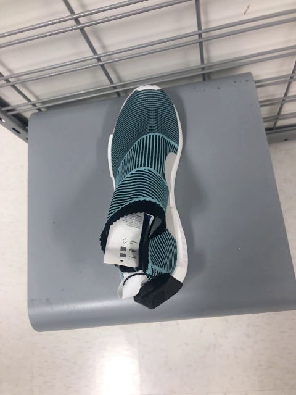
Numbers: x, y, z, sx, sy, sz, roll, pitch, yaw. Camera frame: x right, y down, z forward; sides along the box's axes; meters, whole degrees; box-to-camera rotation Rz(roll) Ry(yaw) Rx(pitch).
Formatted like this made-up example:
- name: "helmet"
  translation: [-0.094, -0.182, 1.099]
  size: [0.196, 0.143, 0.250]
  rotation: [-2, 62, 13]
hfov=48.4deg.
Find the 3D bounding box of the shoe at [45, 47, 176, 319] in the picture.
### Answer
- name: "shoe"
  translation: [-0.041, -0.012, 0.424]
  size: [0.120, 0.130, 0.300]
  rotation: [-5, 75, 9]
